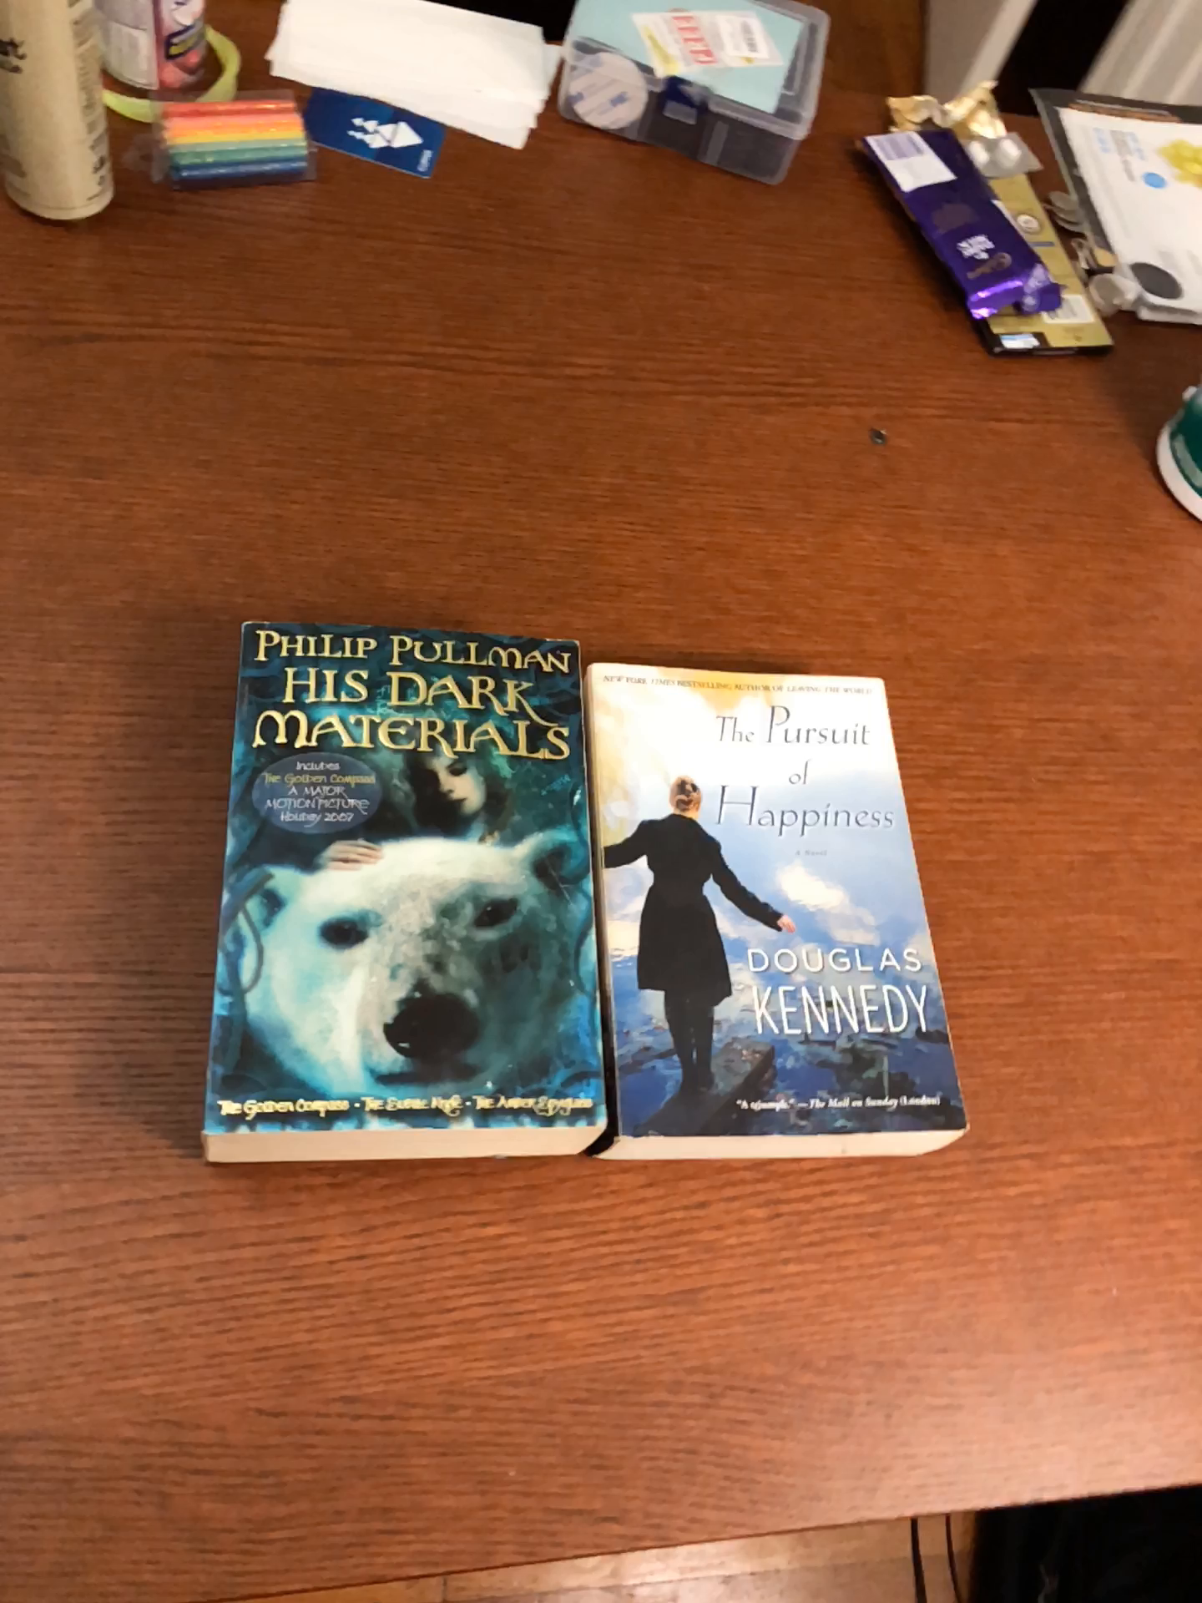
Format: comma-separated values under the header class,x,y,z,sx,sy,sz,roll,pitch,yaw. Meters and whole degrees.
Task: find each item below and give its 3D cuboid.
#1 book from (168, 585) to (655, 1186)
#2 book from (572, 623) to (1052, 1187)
class,x,y,z,sx,sy,sz,roll,pitch,yaw
book,-0.080,0.030,0.569,0.180,0.050,0.251,2,62,-13
book,0.086,0.041,0.599,0.180,0.040,0.251,2,62,-13
